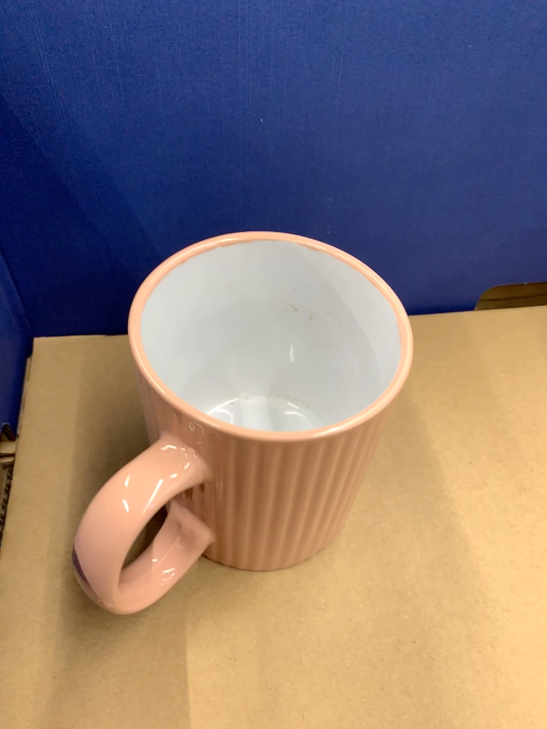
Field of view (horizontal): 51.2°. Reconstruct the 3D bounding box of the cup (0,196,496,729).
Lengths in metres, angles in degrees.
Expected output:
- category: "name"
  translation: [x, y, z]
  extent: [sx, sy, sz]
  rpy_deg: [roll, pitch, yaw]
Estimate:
- category: "cup"
  translation: [-0.007, 0.037, 0.227]
  extent: [0.102, 0.128, 0.155]
  rpy_deg: [27, 50, 23]
